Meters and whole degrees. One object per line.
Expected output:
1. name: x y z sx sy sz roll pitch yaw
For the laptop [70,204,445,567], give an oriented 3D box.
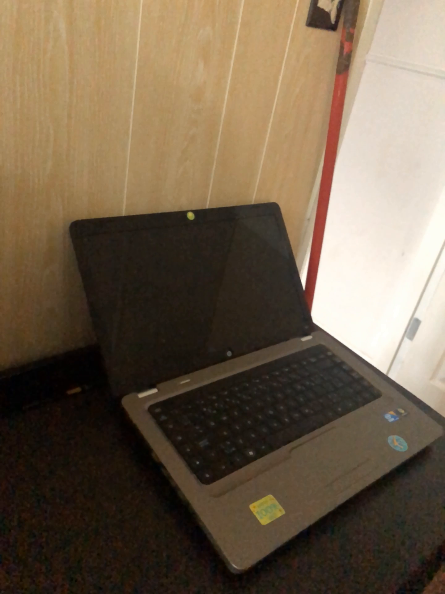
1. laptop: 0.053 0.044 0.659 0.364 0.154 0.420 -12 39 -36
